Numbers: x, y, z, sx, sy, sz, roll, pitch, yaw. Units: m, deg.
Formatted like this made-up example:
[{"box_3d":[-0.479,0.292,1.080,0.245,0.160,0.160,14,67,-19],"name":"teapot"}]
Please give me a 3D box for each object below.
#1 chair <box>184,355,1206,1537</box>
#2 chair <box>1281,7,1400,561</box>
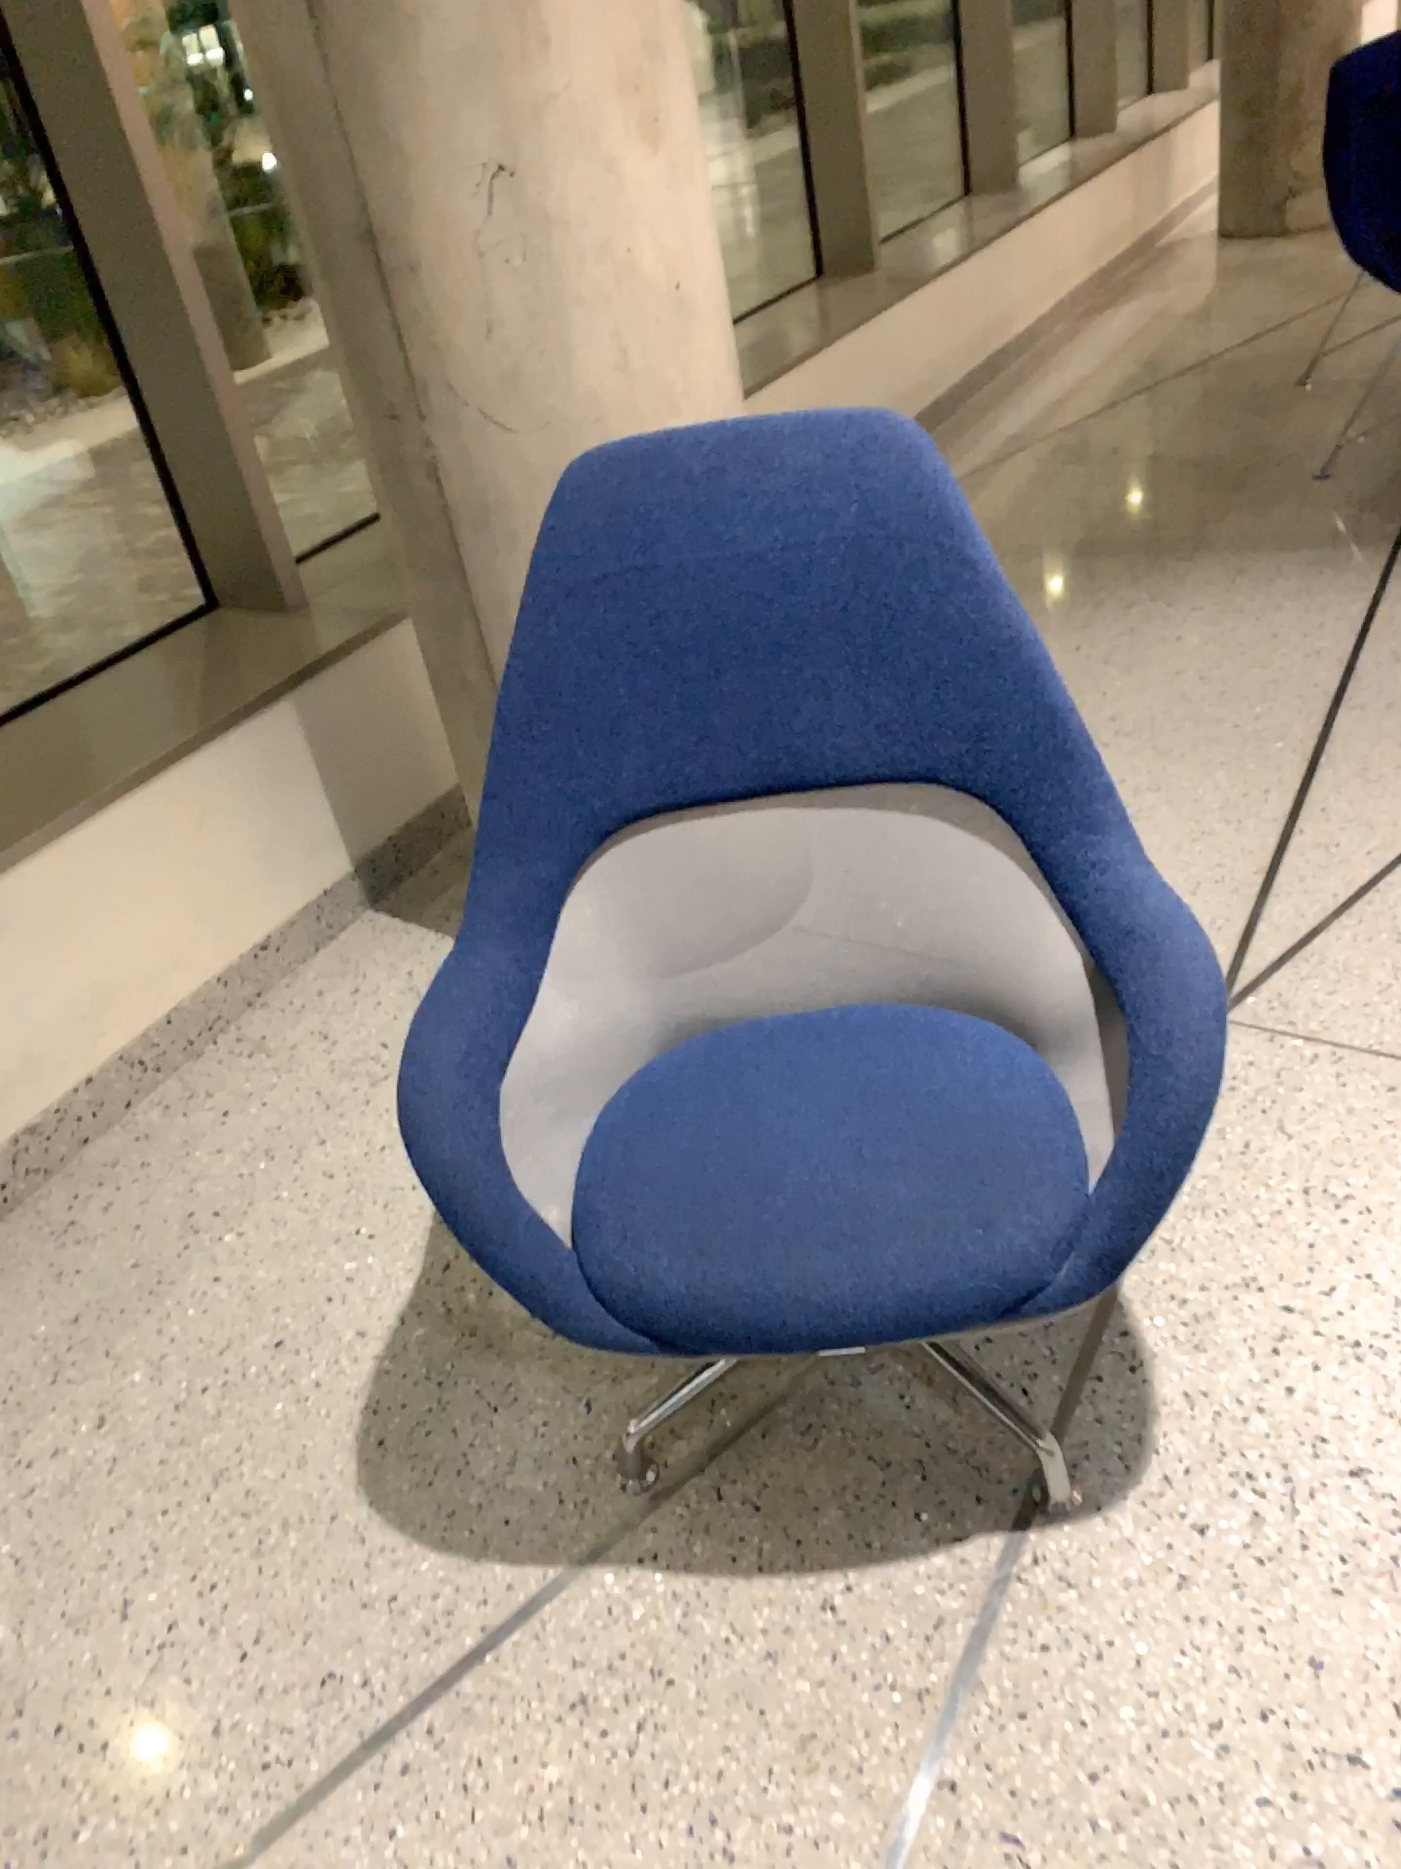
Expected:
[{"box_3d":[0.099,0.025,1.492,0.716,0.961,0.639,-3,33,13],"name":"chair"},{"box_3d":[1.741,-1.373,3.034,0.694,0.854,0.684,-13,32,-2],"name":"chair"}]
